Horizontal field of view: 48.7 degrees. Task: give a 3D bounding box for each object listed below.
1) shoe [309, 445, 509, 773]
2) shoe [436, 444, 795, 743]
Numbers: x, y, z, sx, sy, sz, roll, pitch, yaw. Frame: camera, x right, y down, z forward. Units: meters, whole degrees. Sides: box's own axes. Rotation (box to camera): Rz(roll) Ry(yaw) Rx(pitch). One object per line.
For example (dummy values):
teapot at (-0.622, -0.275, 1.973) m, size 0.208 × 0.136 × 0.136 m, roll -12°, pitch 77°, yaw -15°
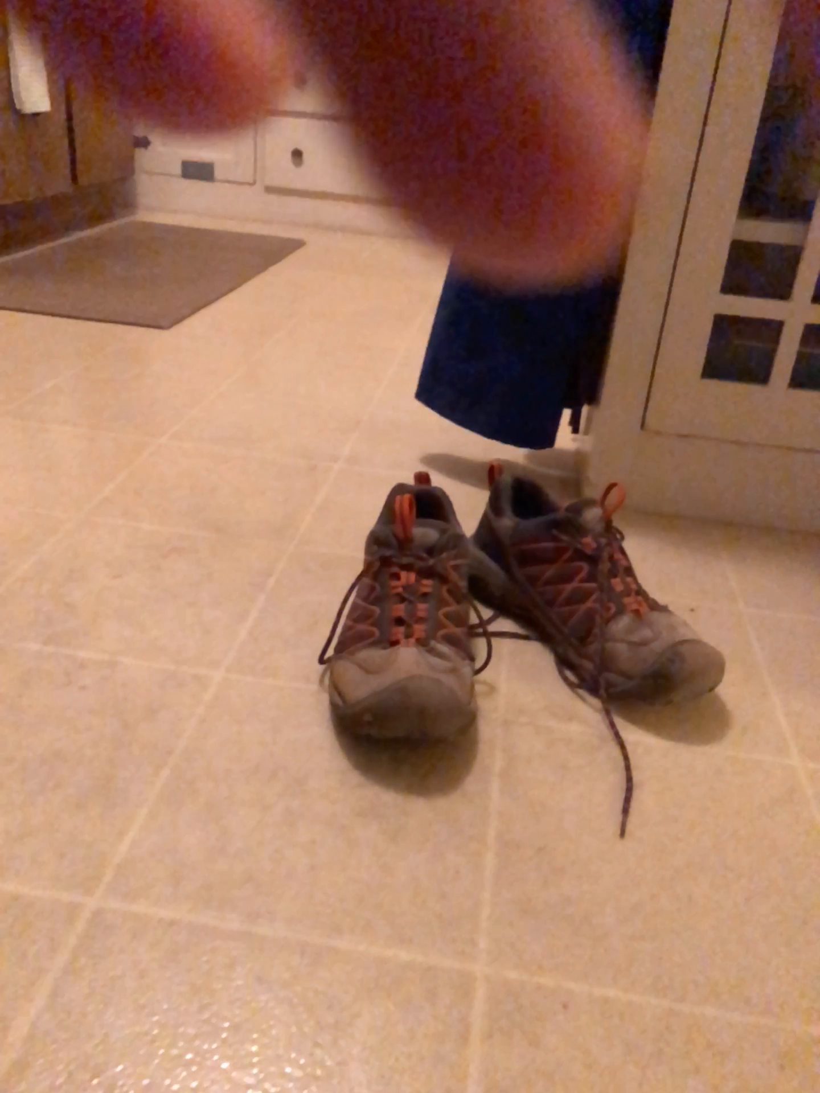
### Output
shoe at (0.007, 0.033, 0.745) m, size 0.127 × 0.121 × 0.294 m, roll 6°, pitch 28°, yaw 2°
shoe at (0.163, 0.024, 0.800) m, size 0.127 × 0.121 × 0.283 m, roll -14°, pitch 33°, yaw -33°
